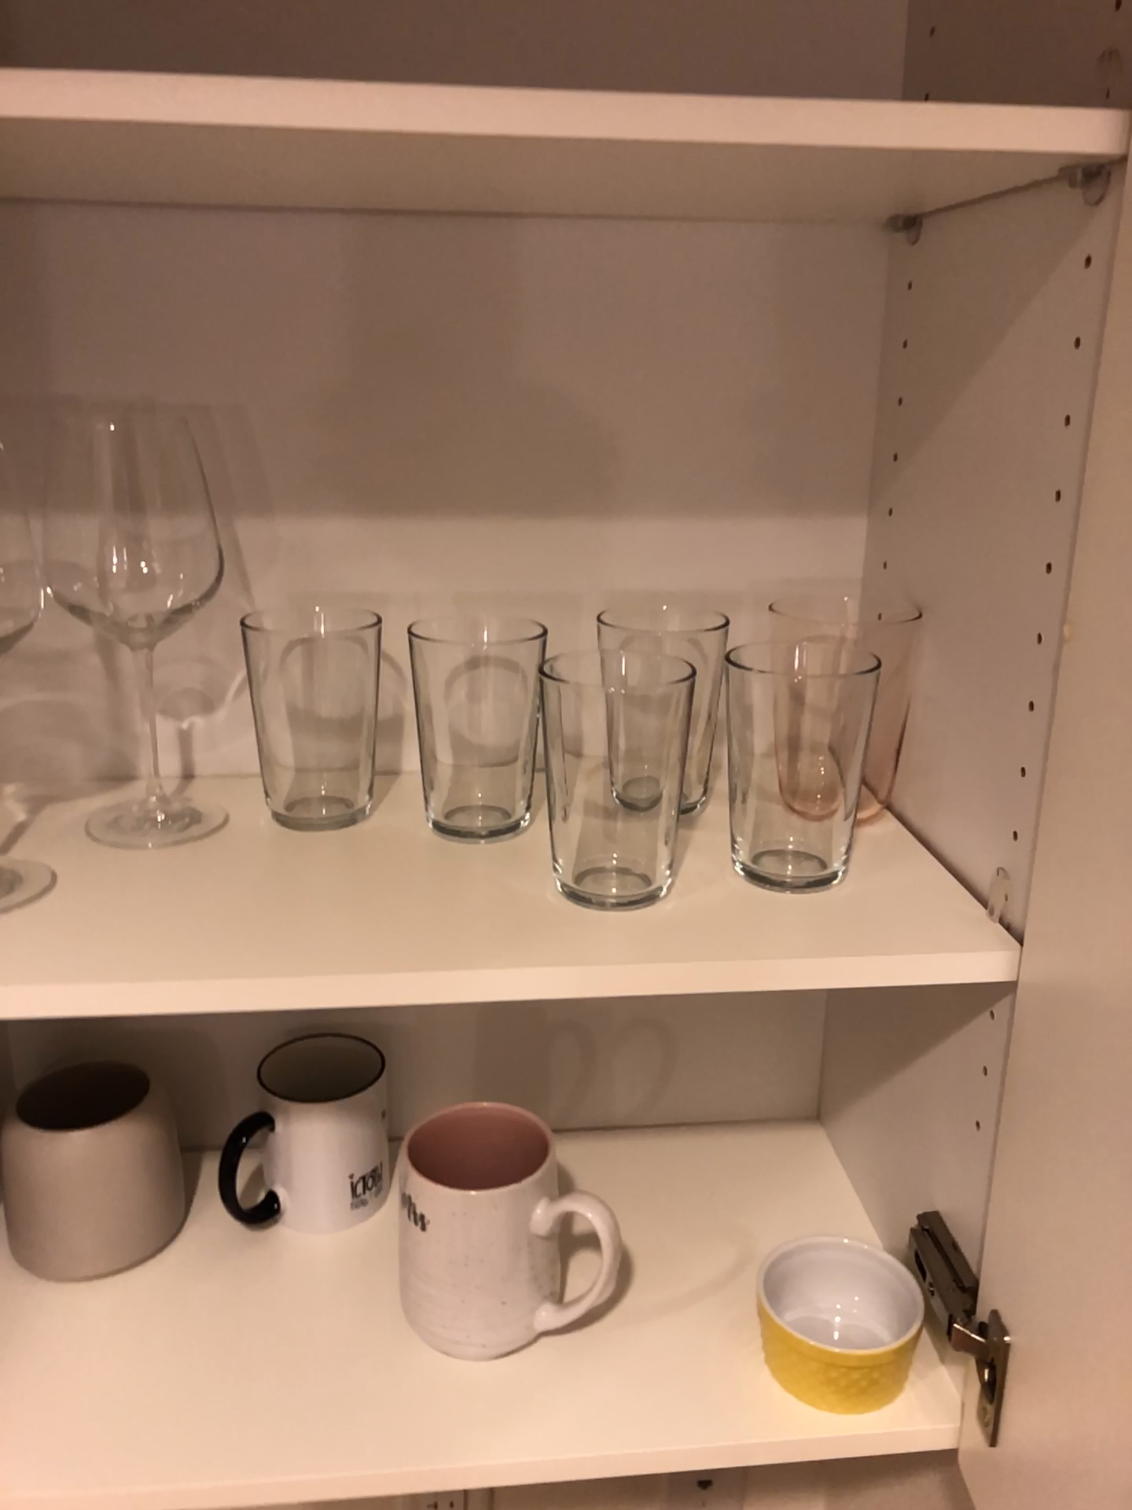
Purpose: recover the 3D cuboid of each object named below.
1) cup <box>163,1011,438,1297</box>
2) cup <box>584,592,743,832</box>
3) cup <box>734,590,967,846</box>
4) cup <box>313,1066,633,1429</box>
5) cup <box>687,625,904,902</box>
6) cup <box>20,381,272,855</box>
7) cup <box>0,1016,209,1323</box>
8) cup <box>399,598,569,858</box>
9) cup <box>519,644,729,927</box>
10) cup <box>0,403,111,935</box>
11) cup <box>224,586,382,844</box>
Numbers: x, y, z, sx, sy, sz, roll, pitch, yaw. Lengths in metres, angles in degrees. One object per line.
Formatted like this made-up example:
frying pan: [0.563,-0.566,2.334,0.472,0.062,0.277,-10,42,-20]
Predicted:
cup: [-0.161,0.242,0.781,0.090,0.090,0.141,12,21,33]
cup: [0.054,-0.028,0.730,0.070,0.119,0.080,-3,17,-11]
cup: [0.157,-0.025,0.713,0.090,0.119,0.100,-2,17,-9]
cup: [-0.048,0.254,0.667,0.140,0.110,0.090,10,19,28]
cup: [0.113,0.001,0.642,0.080,0.119,0.080,1,17,0]
cup: [-0.237,-0.083,0.733,0.110,0.259,0.090,-3,17,-11]
cup: [-0.293,0.243,0.759,0.110,0.090,0.140,-9,20,-28]
cup: [-0.047,-0.018,0.690,0.080,0.119,0.090,-3,17,-11]
cup: [0.024,0.011,0.607,0.080,0.110,0.090,-3,17,-11]
cup: [-0.306,-0.047,0.632,0.110,0.249,0.090,-3,17,-11]
cup: [-0.154,-0.027,0.740,0.080,0.129,0.090,-3,17,-11]
